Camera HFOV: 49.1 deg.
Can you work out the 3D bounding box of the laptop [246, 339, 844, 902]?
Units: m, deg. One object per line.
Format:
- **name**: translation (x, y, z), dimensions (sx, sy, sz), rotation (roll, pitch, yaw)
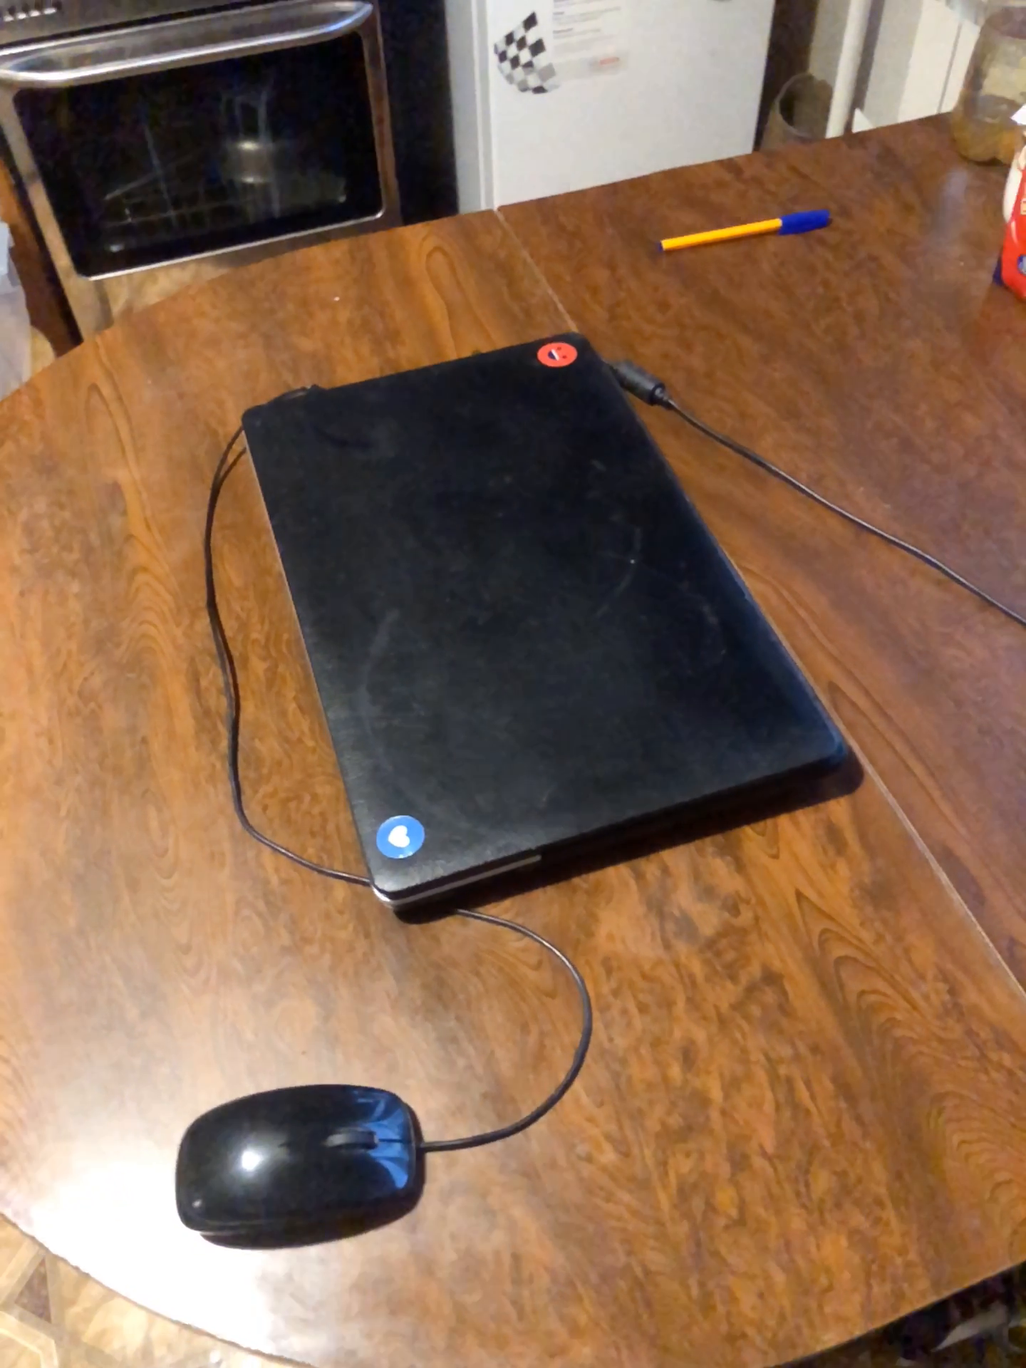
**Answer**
- **laptop**: translation (-0.005, -0.068, 0.661), dimensions (0.238, 0.007, 0.367), rotation (-17, 54, -9)
